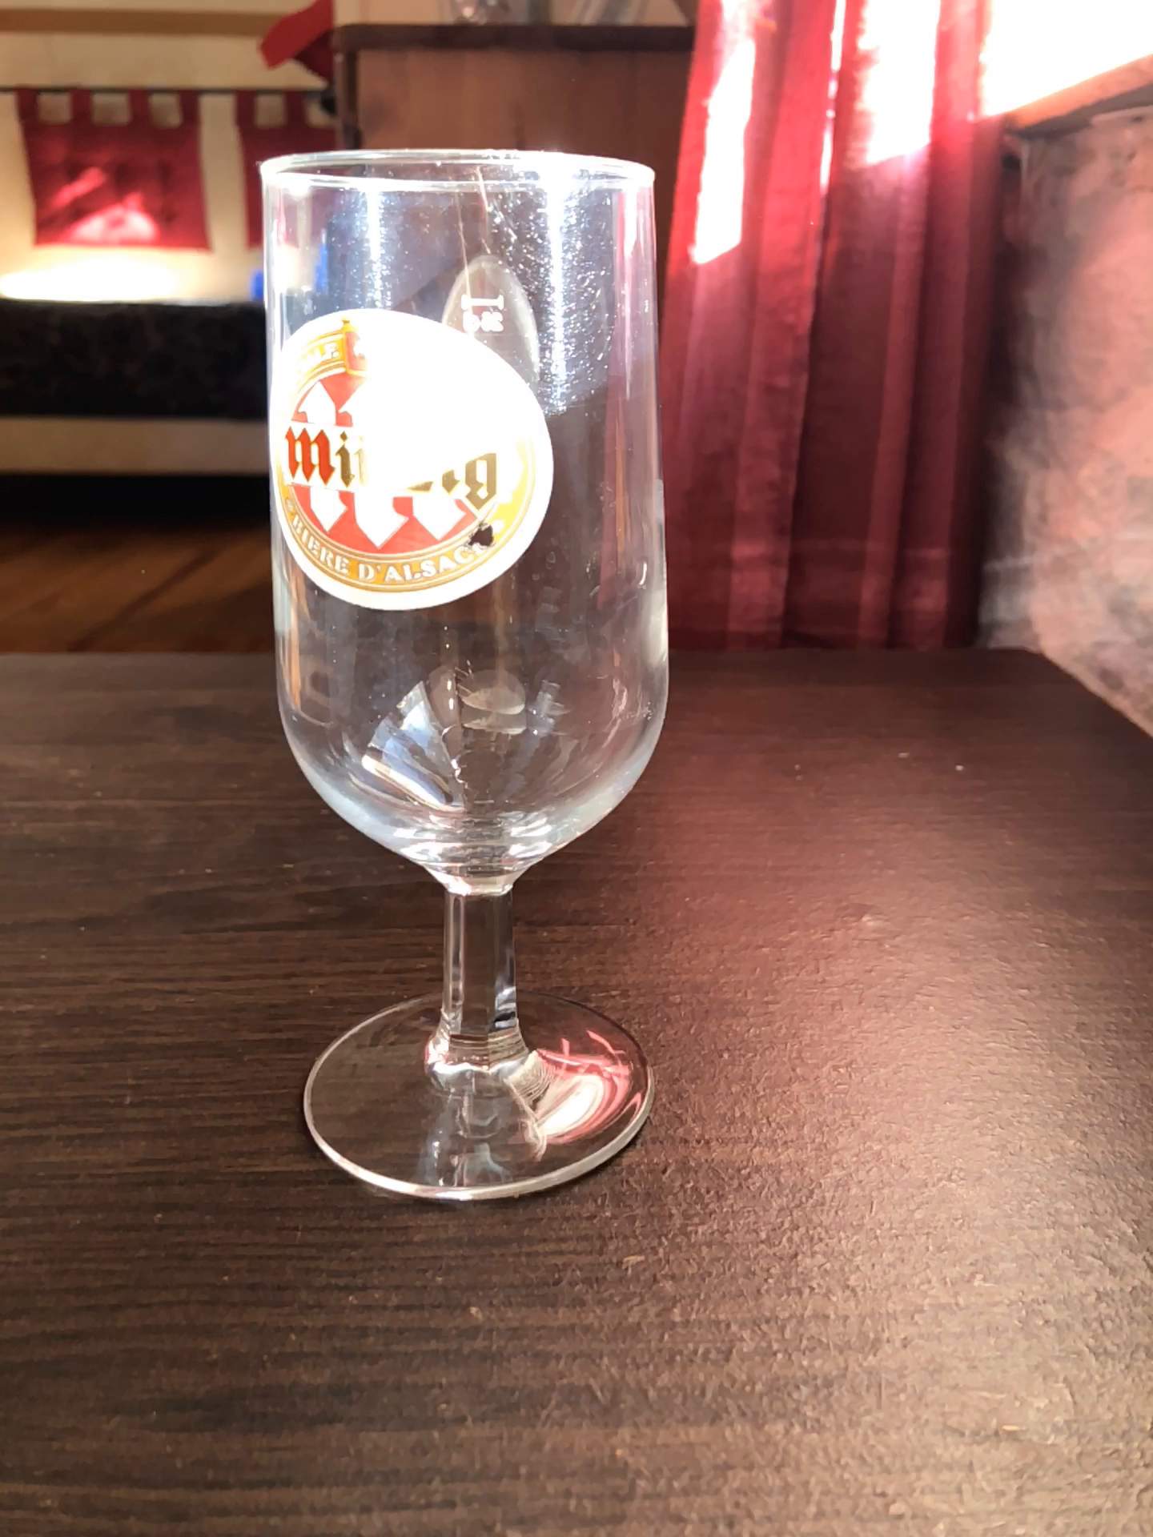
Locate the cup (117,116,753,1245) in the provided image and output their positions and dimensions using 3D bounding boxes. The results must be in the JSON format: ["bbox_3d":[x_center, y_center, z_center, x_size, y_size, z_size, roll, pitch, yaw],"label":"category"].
[{"bbox_3d":[-0.018,-0.016,0.214,0.067,0.155,0.070,1,19,0],"label":"cup"}]
